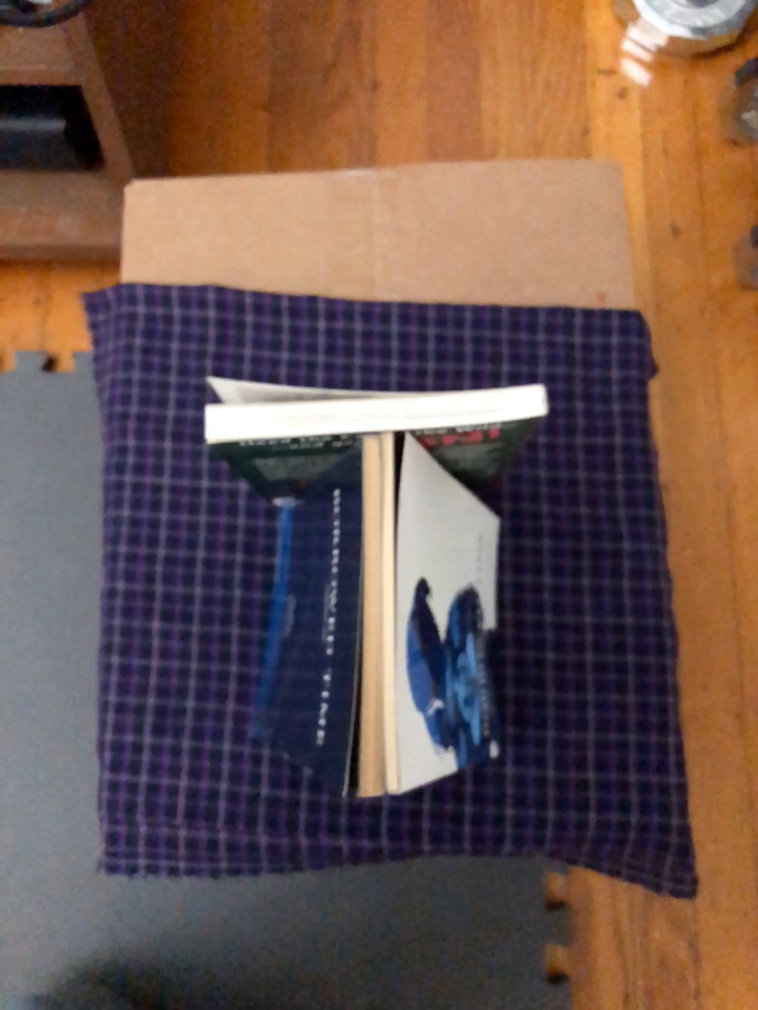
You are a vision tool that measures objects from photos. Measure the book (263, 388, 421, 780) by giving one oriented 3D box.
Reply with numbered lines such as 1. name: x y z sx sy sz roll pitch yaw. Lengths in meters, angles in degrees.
1. book: -0.025 0.042 0.420 0.010 0.200 0.150 7 79 -19

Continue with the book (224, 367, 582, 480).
1. book: 0.010 -0.035 0.428 0.140 0.190 0.020 -2 85 0

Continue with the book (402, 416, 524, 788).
1. book: 0.046 0.054 0.414 0.010 0.200 0.140 -4 77 19
